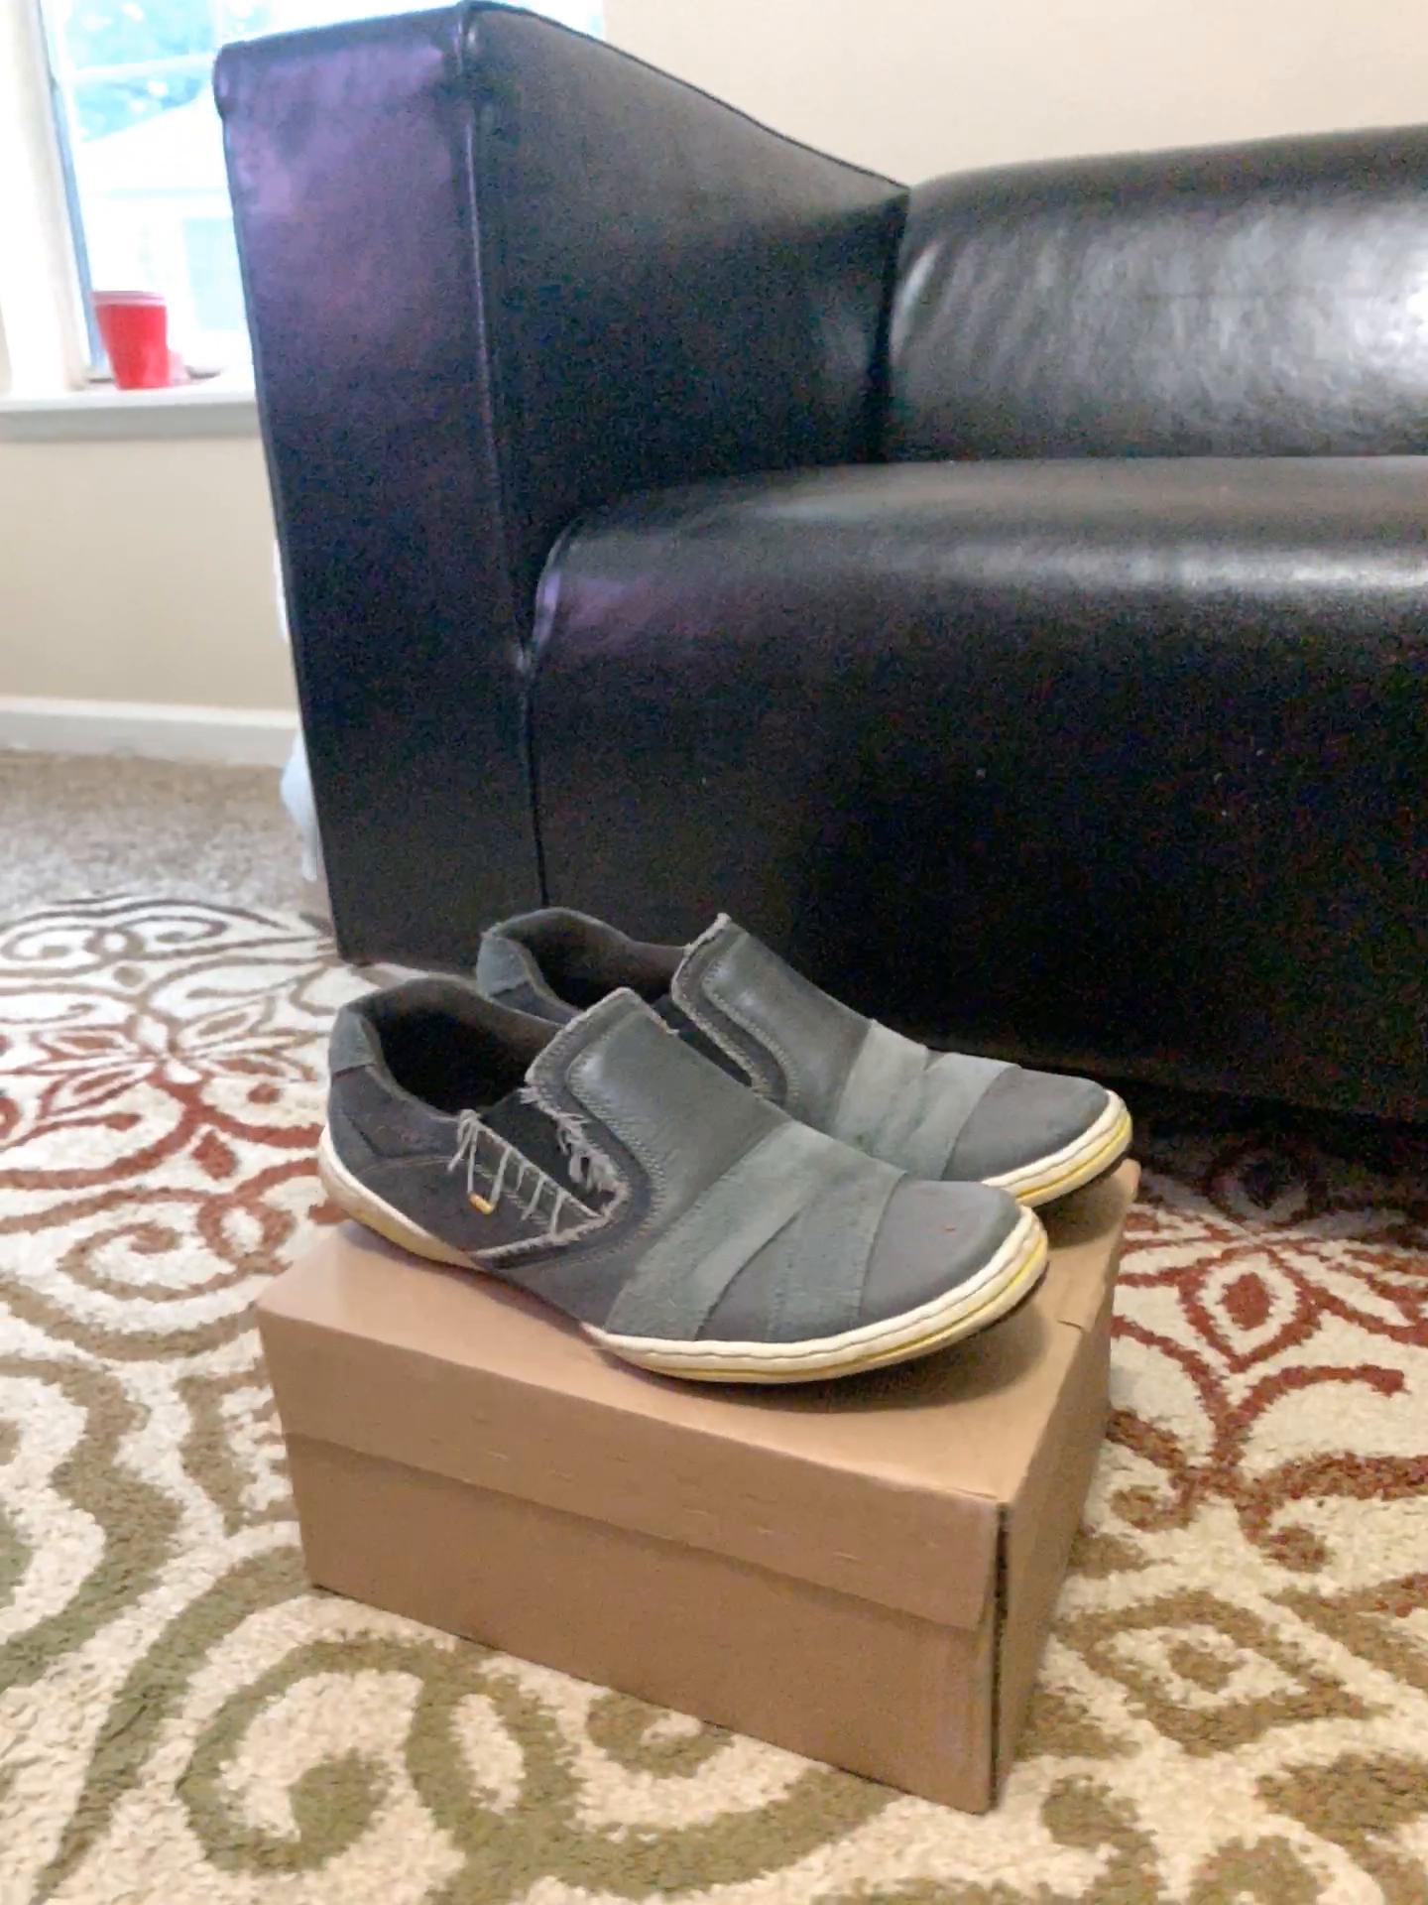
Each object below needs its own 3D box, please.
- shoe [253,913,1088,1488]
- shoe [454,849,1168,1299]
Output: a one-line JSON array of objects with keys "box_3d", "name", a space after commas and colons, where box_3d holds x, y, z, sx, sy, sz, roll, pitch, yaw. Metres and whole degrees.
[{"box_3d": [-0.016, 0.070, 0.534, 0.260, 0.100, 0.140, 10, 22, 29], "name": "shoe"}, {"box_3d": [0.040, 0.036, 0.625, 0.260, 0.100, 0.140, 10, 22, 29], "name": "shoe"}]
